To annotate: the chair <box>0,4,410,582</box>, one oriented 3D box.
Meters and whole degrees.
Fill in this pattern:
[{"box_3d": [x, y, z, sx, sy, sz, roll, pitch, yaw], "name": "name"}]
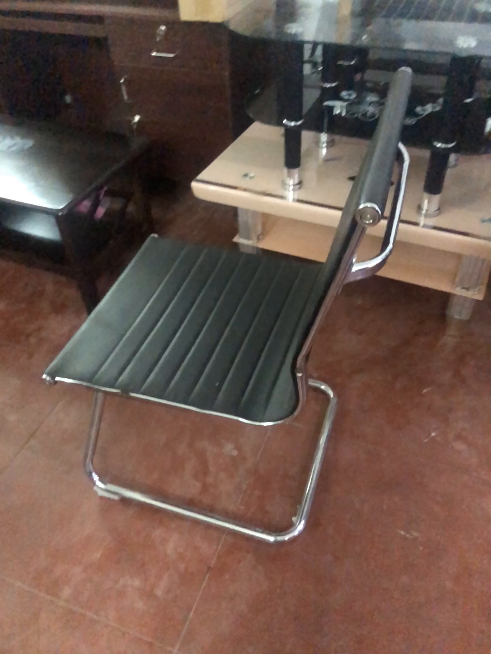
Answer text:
[{"box_3d": [-0.126, -0.067, 1.064, 0.680, 0.856, 0.593, 11, 45, 15], "name": "chair"}]
